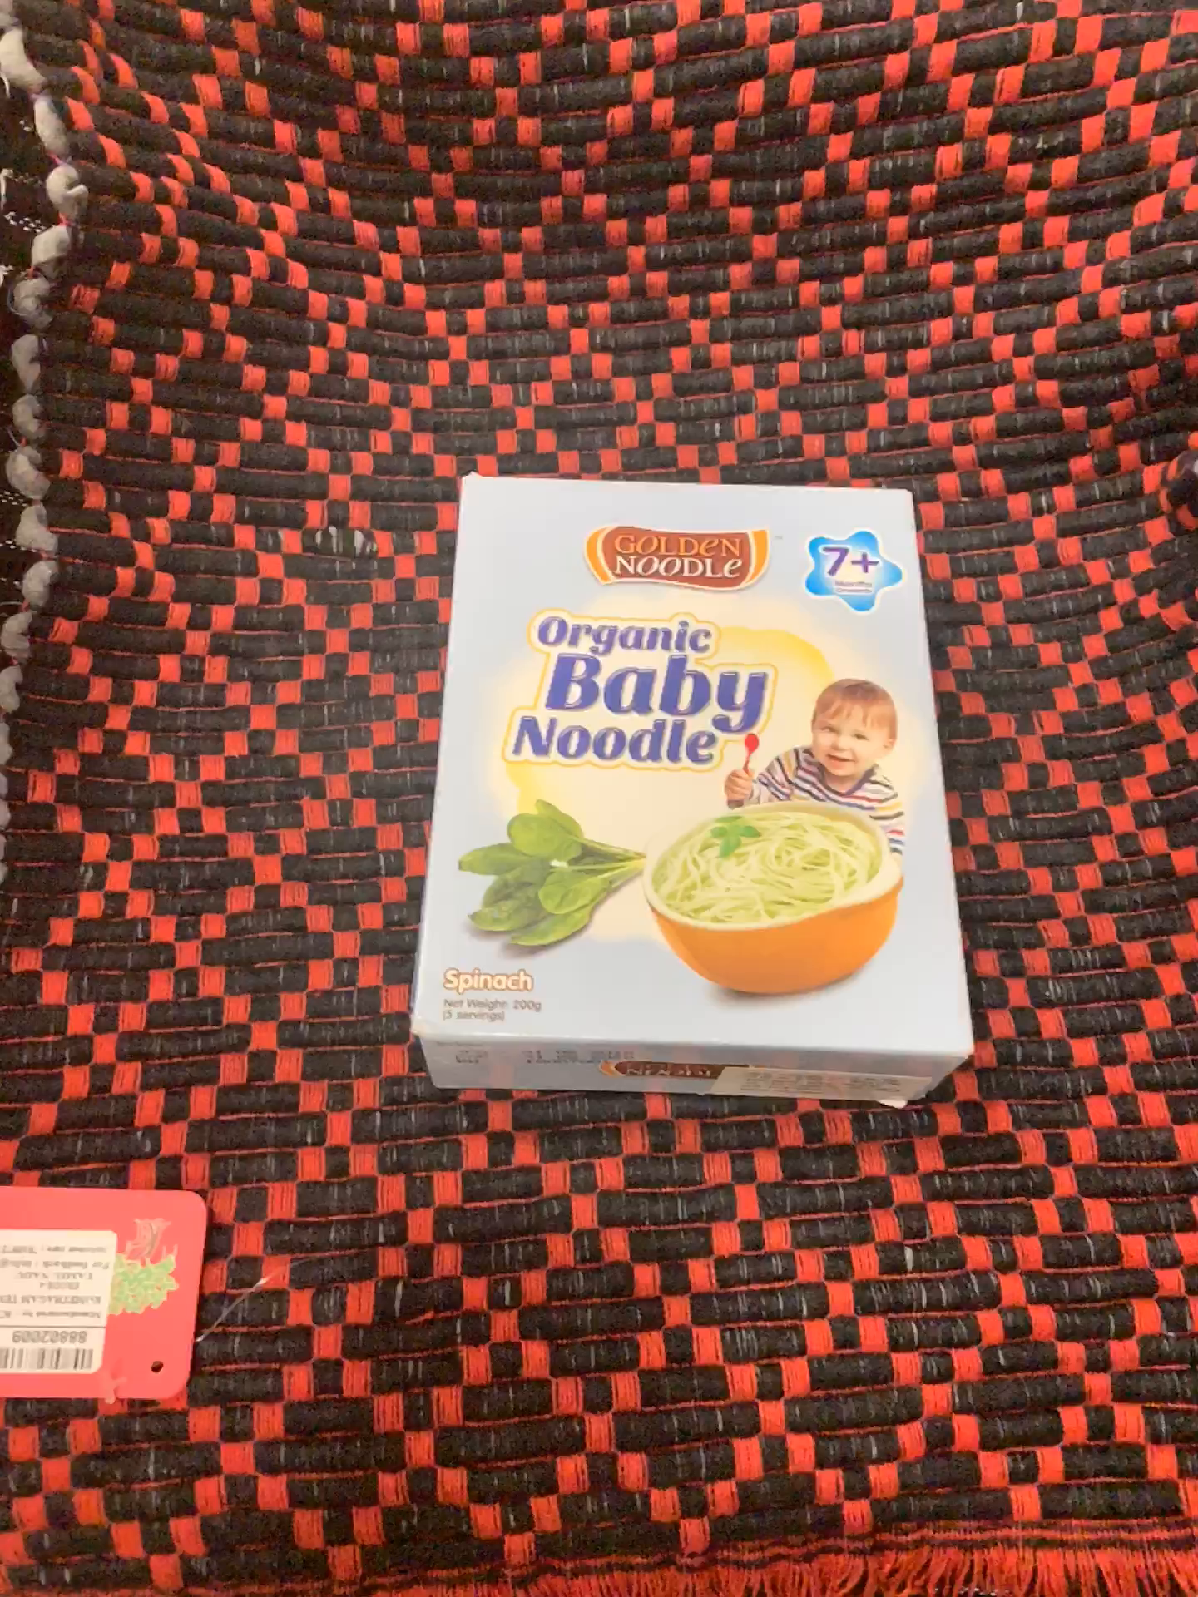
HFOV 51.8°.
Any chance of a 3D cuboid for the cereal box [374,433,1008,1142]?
[{"bbox_3d":[0.019,-0.006,0.311,0.130,0.050,0.170,2,65,-2],"label":"cereal box"}]
